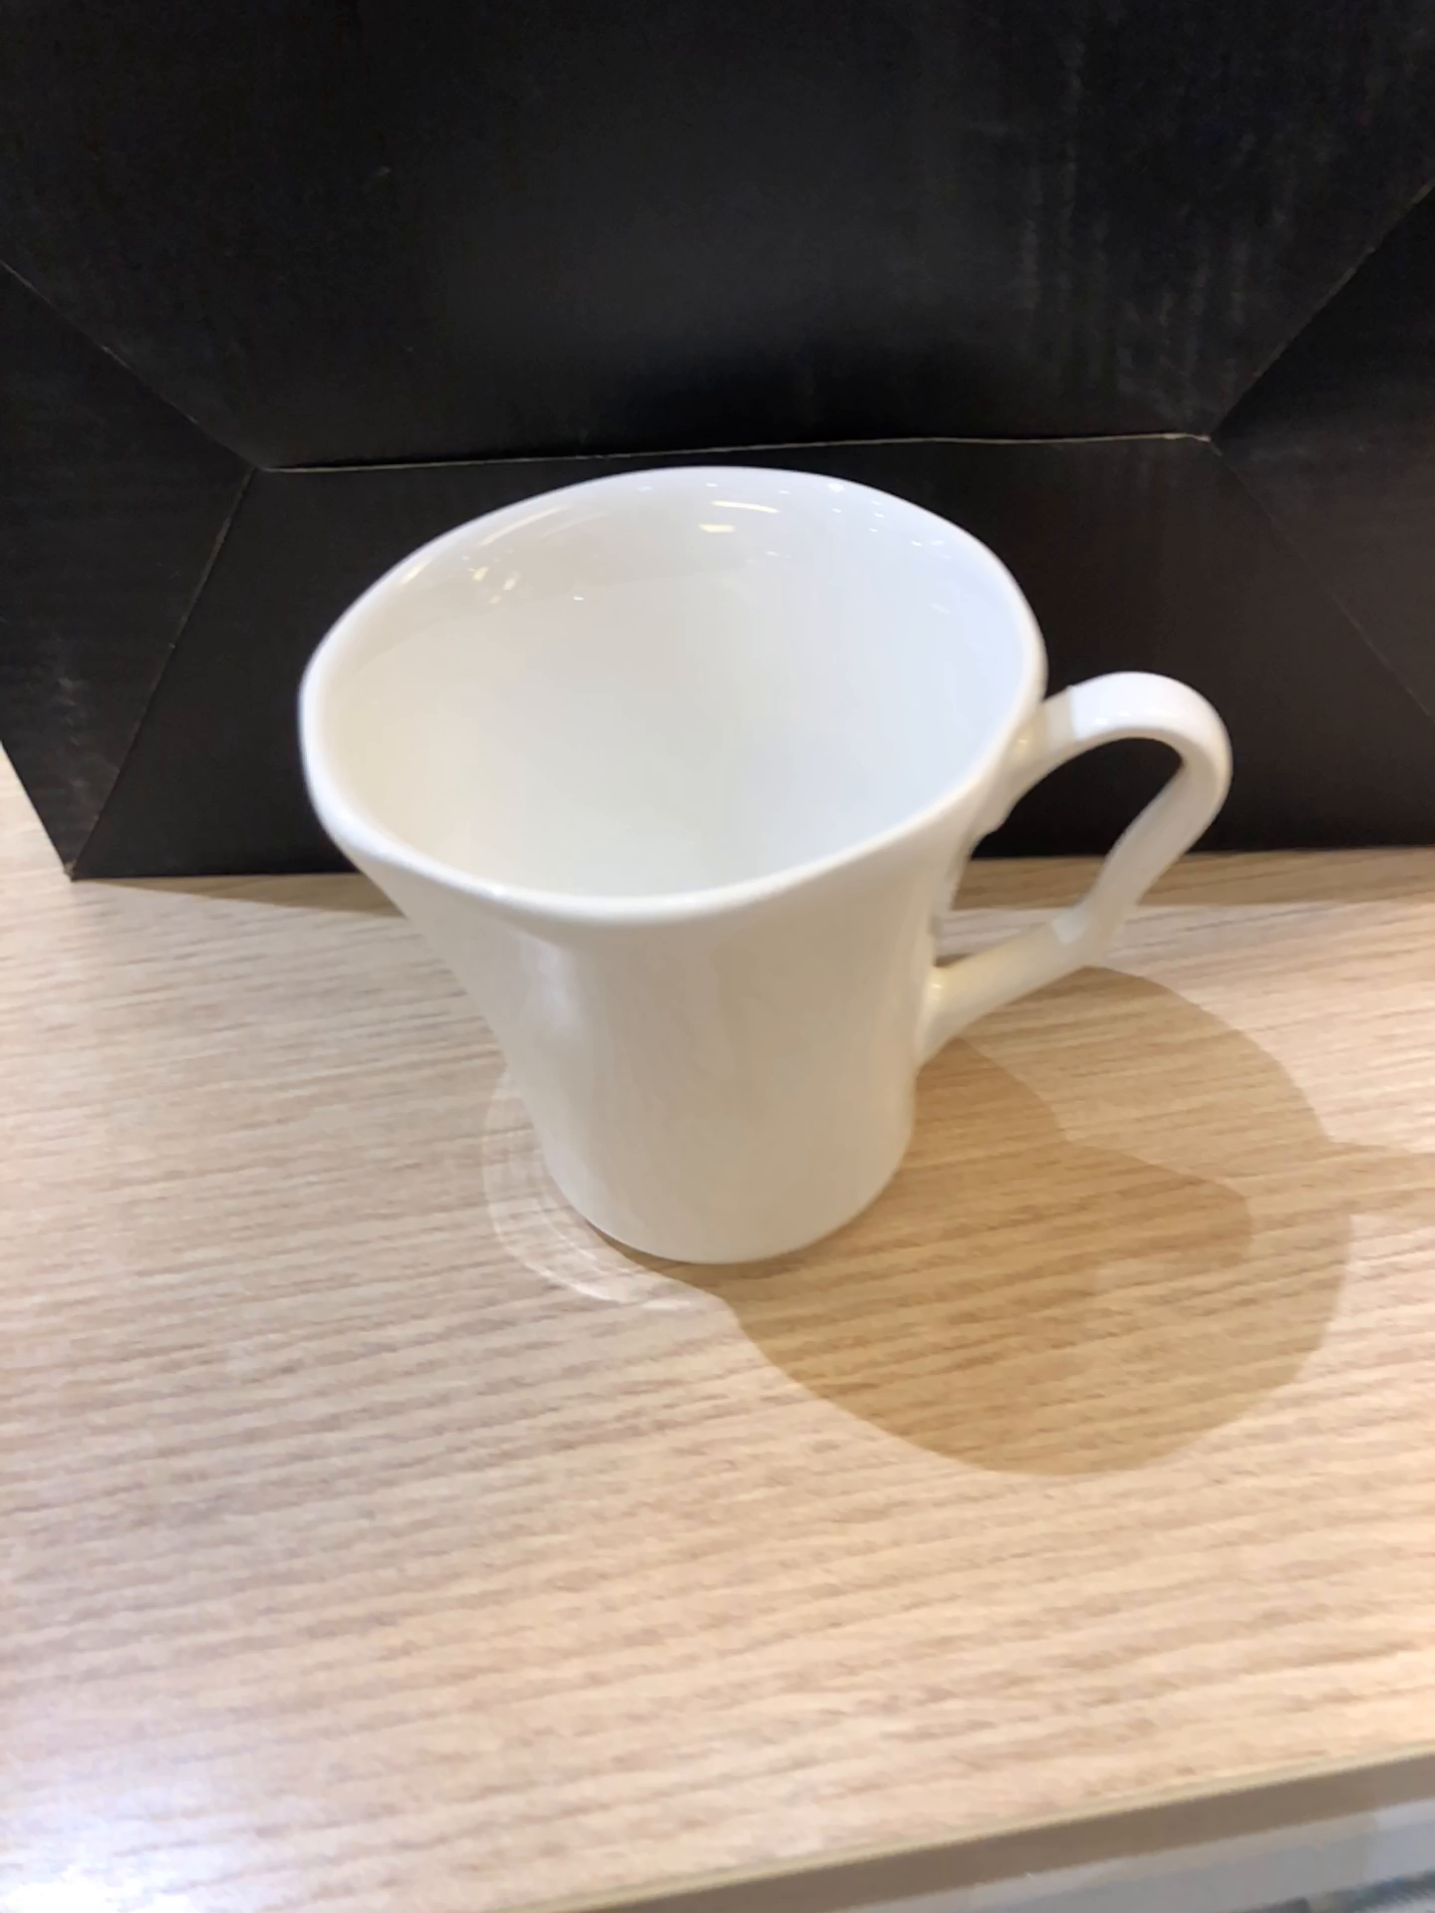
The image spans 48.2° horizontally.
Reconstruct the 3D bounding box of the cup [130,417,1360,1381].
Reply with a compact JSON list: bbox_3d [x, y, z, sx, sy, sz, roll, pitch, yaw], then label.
[{"bbox_3d":[0.005,-0.006,0.199,0.110,0.079,0.081,-3,45,4],"label":"cup"}]
